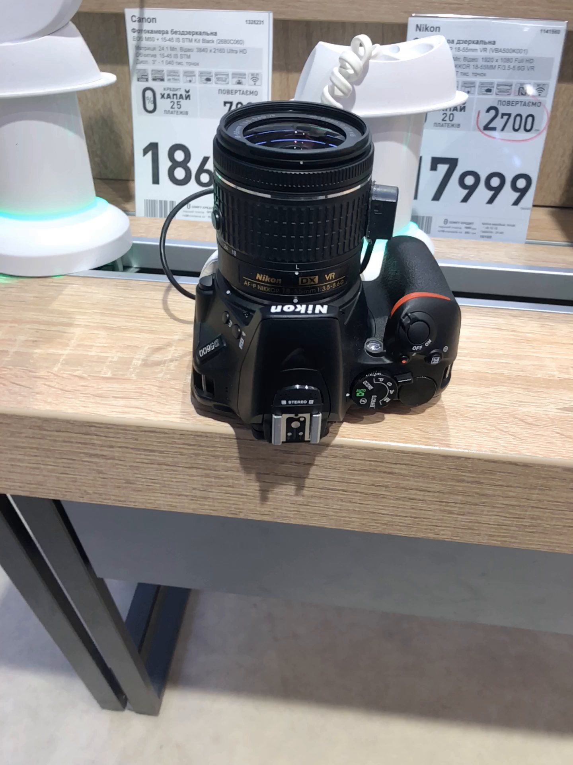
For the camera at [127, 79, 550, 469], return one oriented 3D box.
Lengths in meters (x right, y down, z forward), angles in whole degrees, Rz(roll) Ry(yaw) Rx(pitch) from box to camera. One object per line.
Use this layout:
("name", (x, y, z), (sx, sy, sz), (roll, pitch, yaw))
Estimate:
("camera", (0.011, -0.051, 0.276), (0.132, 0.117, 0.116), (-4, 41, -5))
